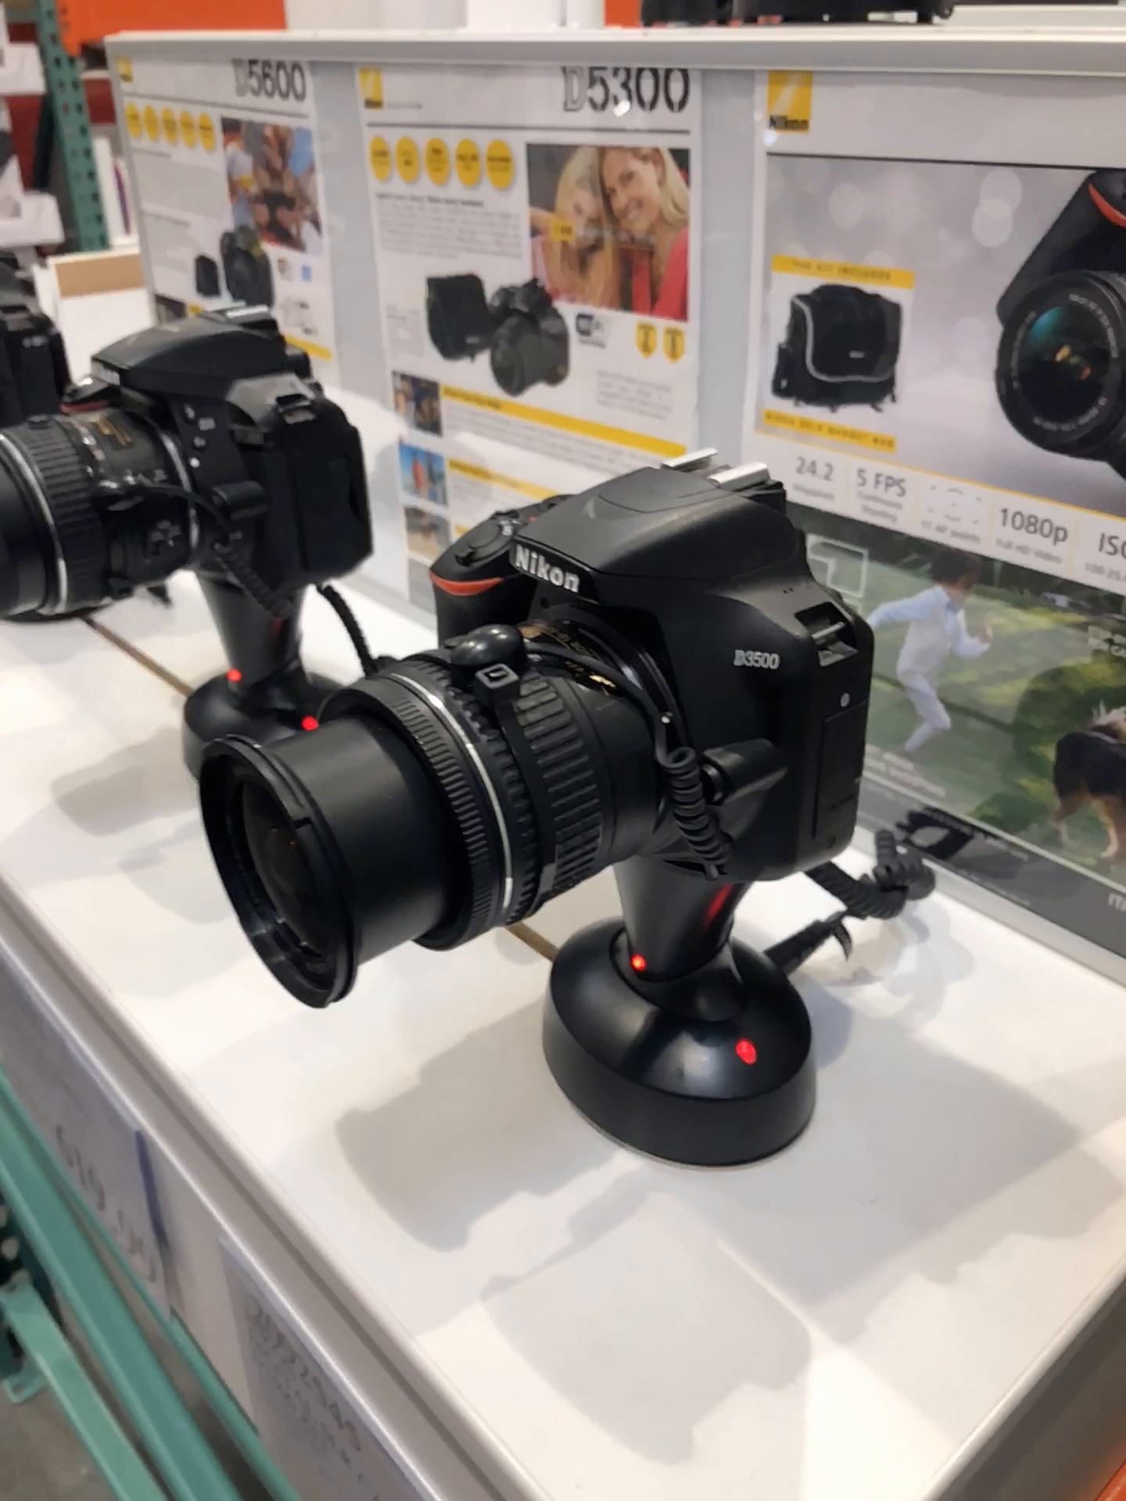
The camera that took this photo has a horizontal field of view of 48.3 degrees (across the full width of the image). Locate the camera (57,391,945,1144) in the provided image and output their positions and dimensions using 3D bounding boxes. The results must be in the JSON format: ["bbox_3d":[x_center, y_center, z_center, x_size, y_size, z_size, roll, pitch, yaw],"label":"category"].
[{"bbox_3d":[-0.014,-0.014,0.292,0.140,0.089,0.131,-24,37,-35],"label":"camera"}]
